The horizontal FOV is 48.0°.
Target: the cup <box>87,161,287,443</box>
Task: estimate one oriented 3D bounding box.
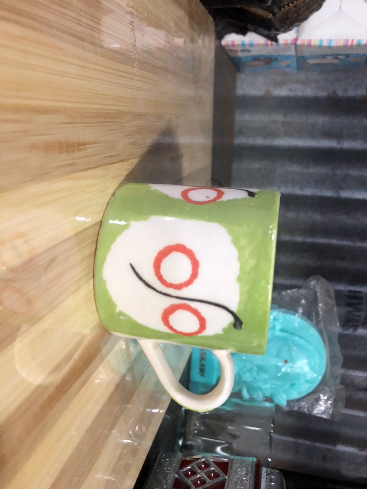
[{"bbox_3d":[0.005,0.016,0.186,0.070,0.070,0.100,-36,129,-75],"label":"cup"}]
